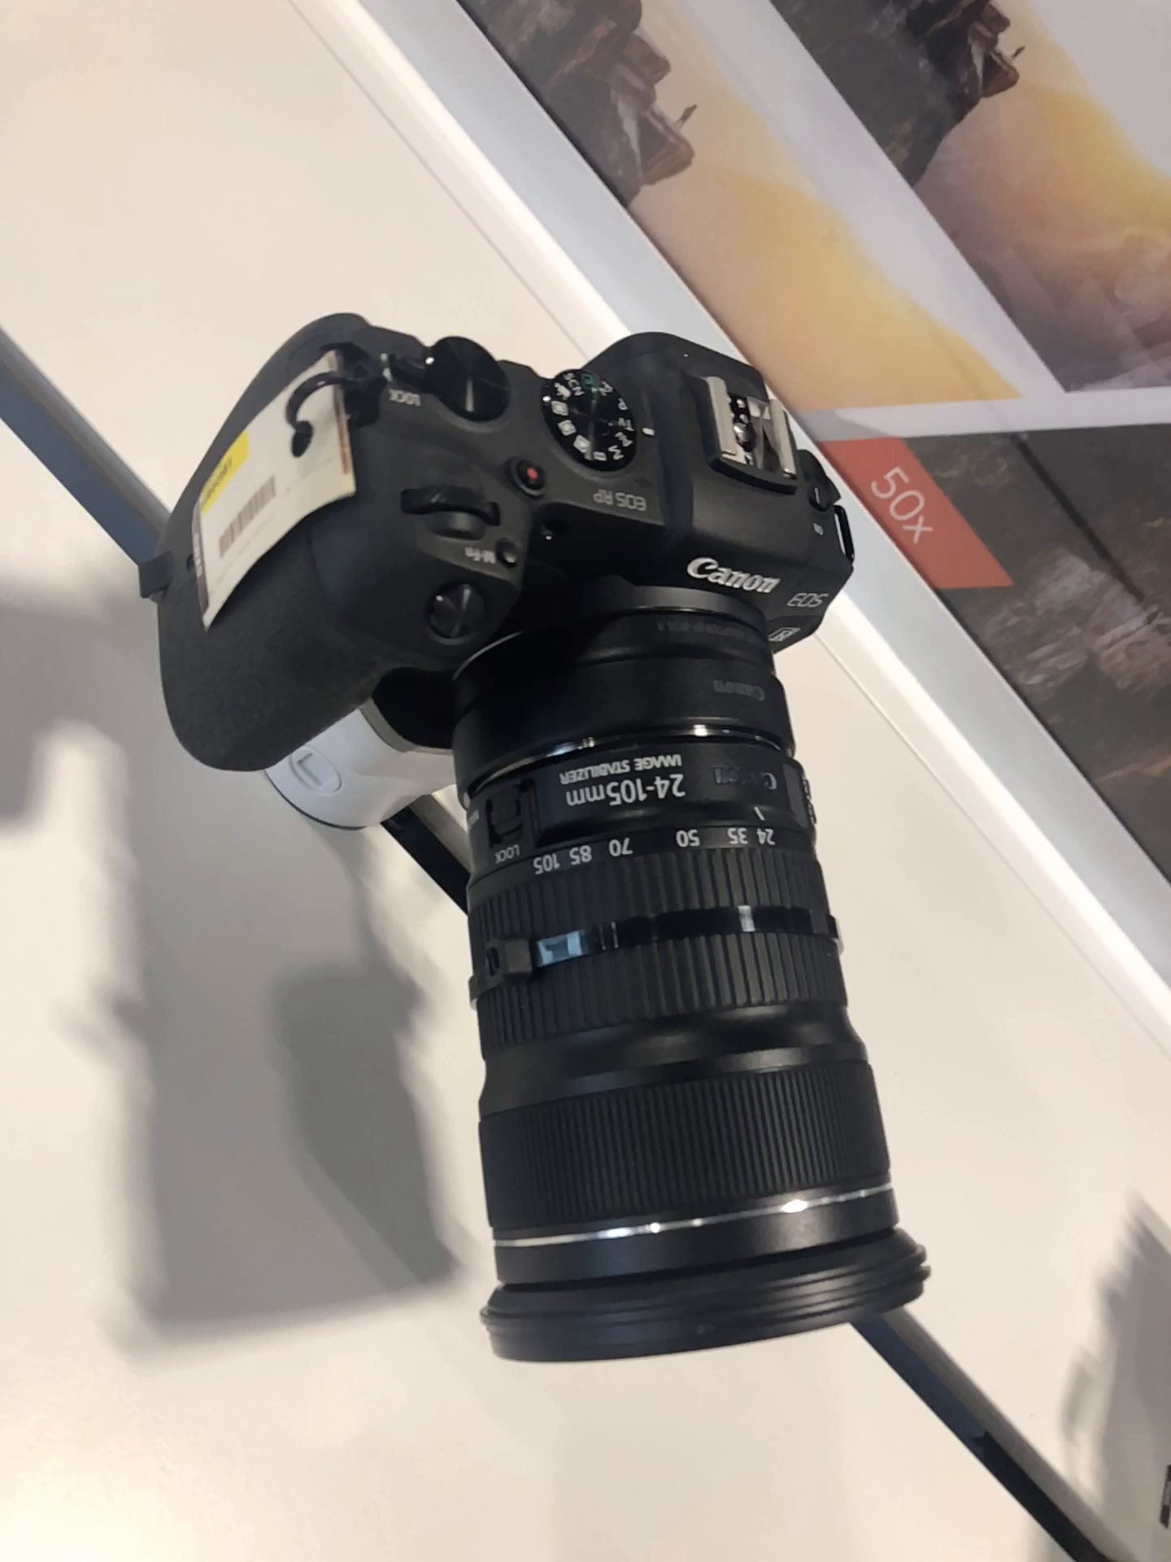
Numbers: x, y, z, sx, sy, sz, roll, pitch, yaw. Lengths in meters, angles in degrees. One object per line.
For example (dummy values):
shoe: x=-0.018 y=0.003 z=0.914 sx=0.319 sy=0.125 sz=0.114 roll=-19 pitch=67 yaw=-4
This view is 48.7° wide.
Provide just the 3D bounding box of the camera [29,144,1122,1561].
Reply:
camera: x=-0.008 y=0.015 z=0.235 sx=0.136 sy=0.090 sz=0.190 roll=3 pitch=67 yaw=-41
